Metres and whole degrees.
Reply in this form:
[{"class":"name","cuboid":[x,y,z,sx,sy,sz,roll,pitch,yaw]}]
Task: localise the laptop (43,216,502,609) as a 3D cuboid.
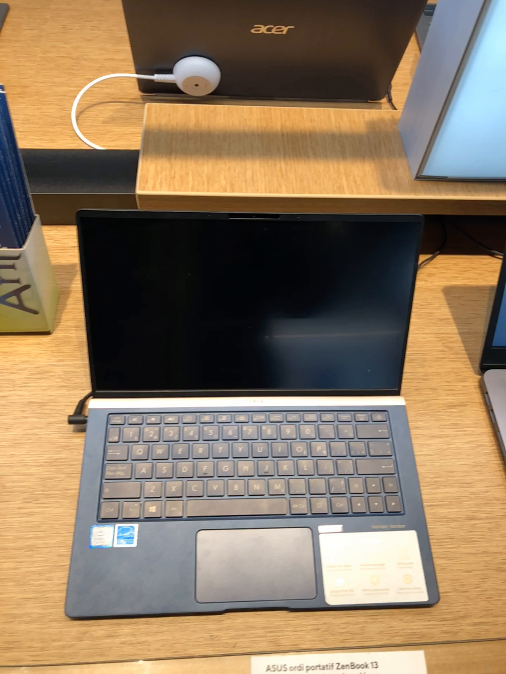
[{"class":"laptop","cuboid":[0.011,0.055,0.455,0.276,0.130,0.276,0,61,-2]}]
